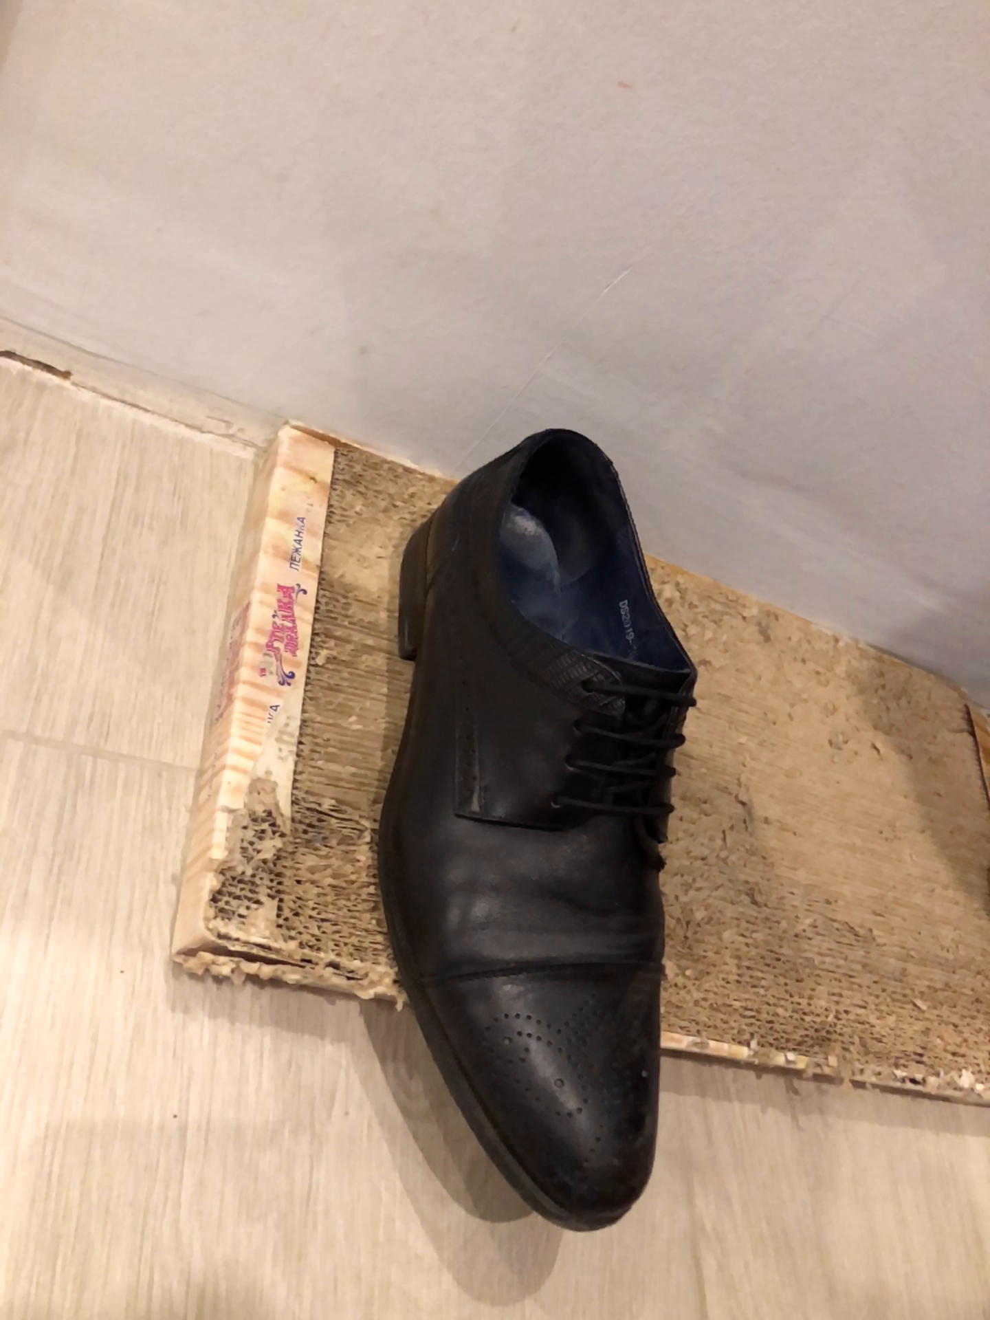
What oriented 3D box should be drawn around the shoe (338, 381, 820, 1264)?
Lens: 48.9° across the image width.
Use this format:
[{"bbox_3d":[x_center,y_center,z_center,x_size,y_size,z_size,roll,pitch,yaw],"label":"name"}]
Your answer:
[{"bbox_3d":[0.013,0.050,0.394,0.090,0.099,0.281,10,58,-31],"label":"shoe"}]
